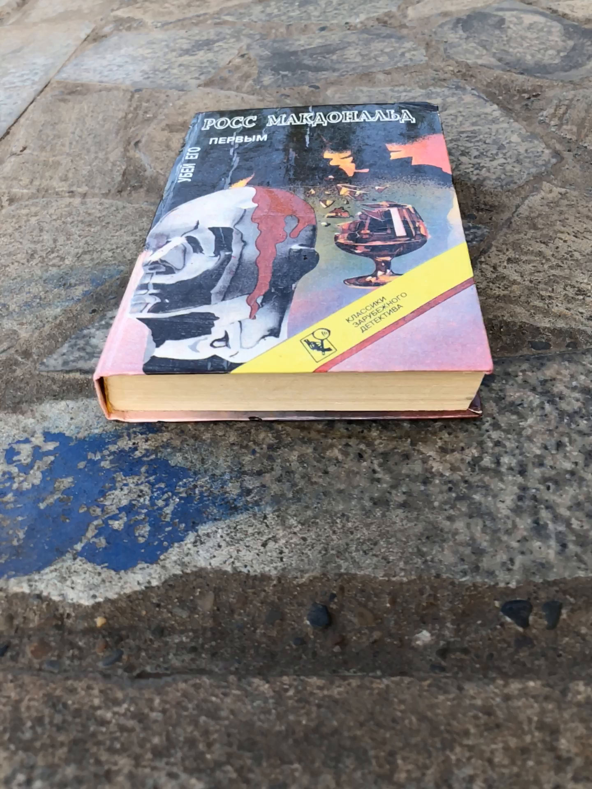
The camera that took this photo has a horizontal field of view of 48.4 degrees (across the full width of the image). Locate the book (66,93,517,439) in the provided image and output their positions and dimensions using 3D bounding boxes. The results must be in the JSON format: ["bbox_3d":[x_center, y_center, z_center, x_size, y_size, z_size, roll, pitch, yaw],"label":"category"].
[{"bbox_3d":[0.004,-0.071,0.287,0.140,0.030,0.211,0,46,5],"label":"book"}]
